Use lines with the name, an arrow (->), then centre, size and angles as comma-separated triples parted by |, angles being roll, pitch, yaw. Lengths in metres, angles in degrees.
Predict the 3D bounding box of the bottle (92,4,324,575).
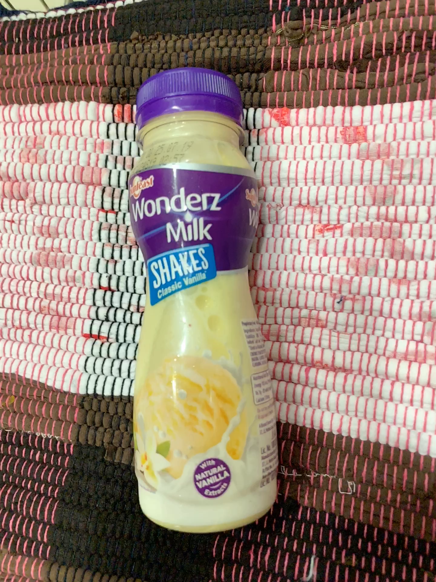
bottle -> -0.001, 0.000, 0.160 | 0.060, 0.050, 0.160 | -4, 87, 20
